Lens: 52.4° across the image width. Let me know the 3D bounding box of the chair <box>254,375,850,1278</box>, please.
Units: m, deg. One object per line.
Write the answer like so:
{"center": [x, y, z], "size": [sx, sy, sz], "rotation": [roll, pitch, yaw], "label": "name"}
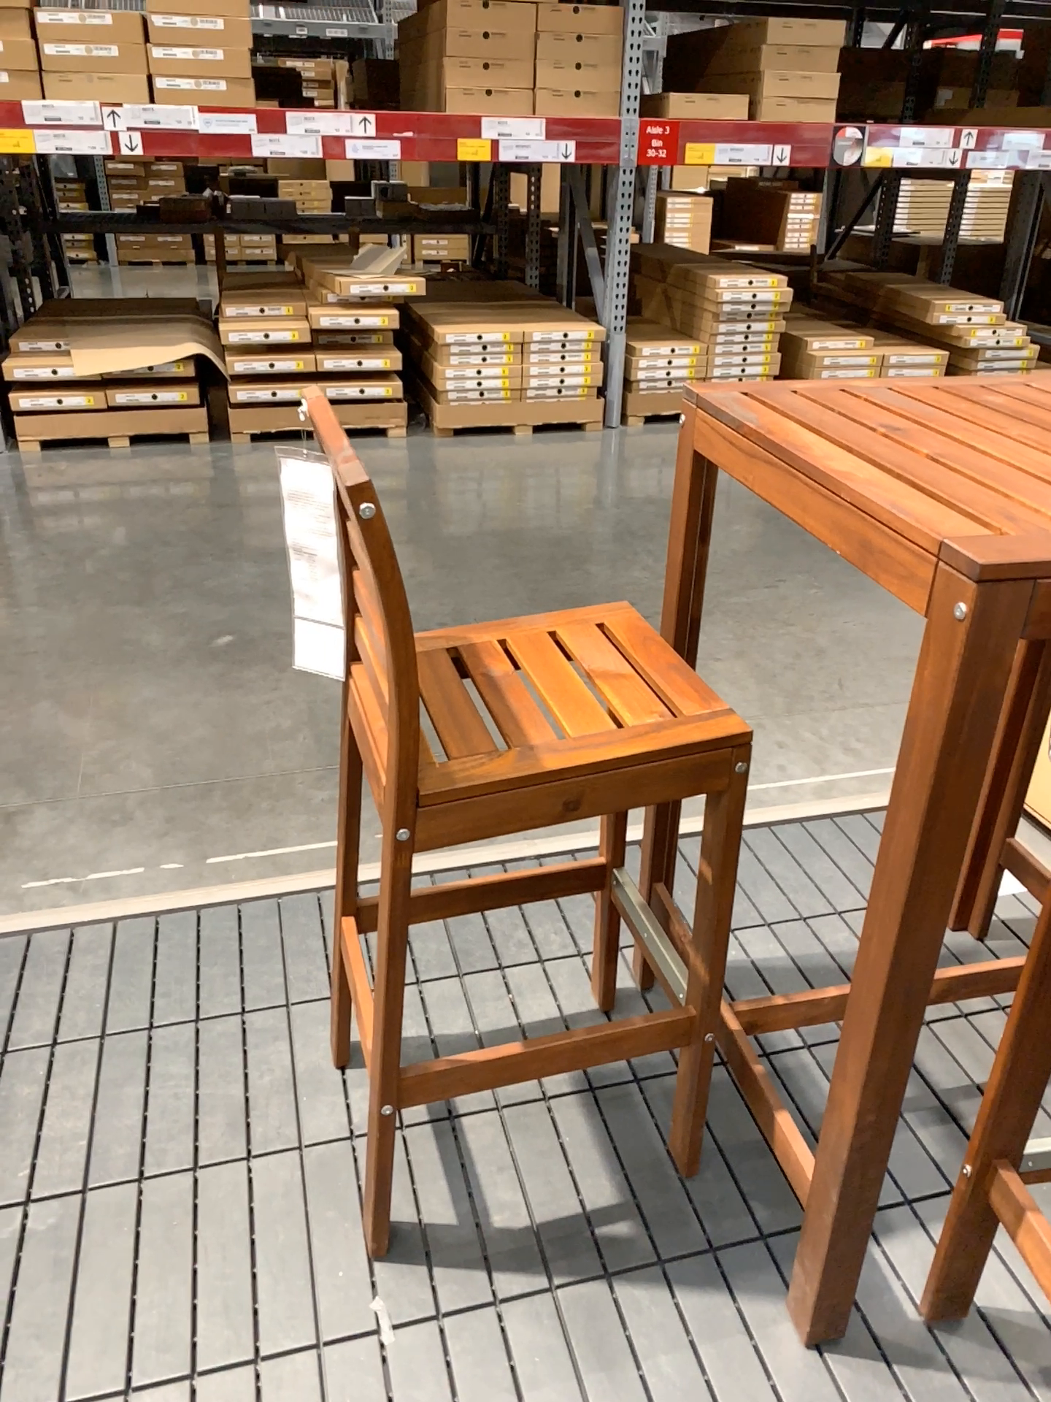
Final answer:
{"center": [-0.016, 0.150, 1.352], "size": [0.520, 0.995, 0.432], "rotation": [-7, 29, -15], "label": "chair"}
